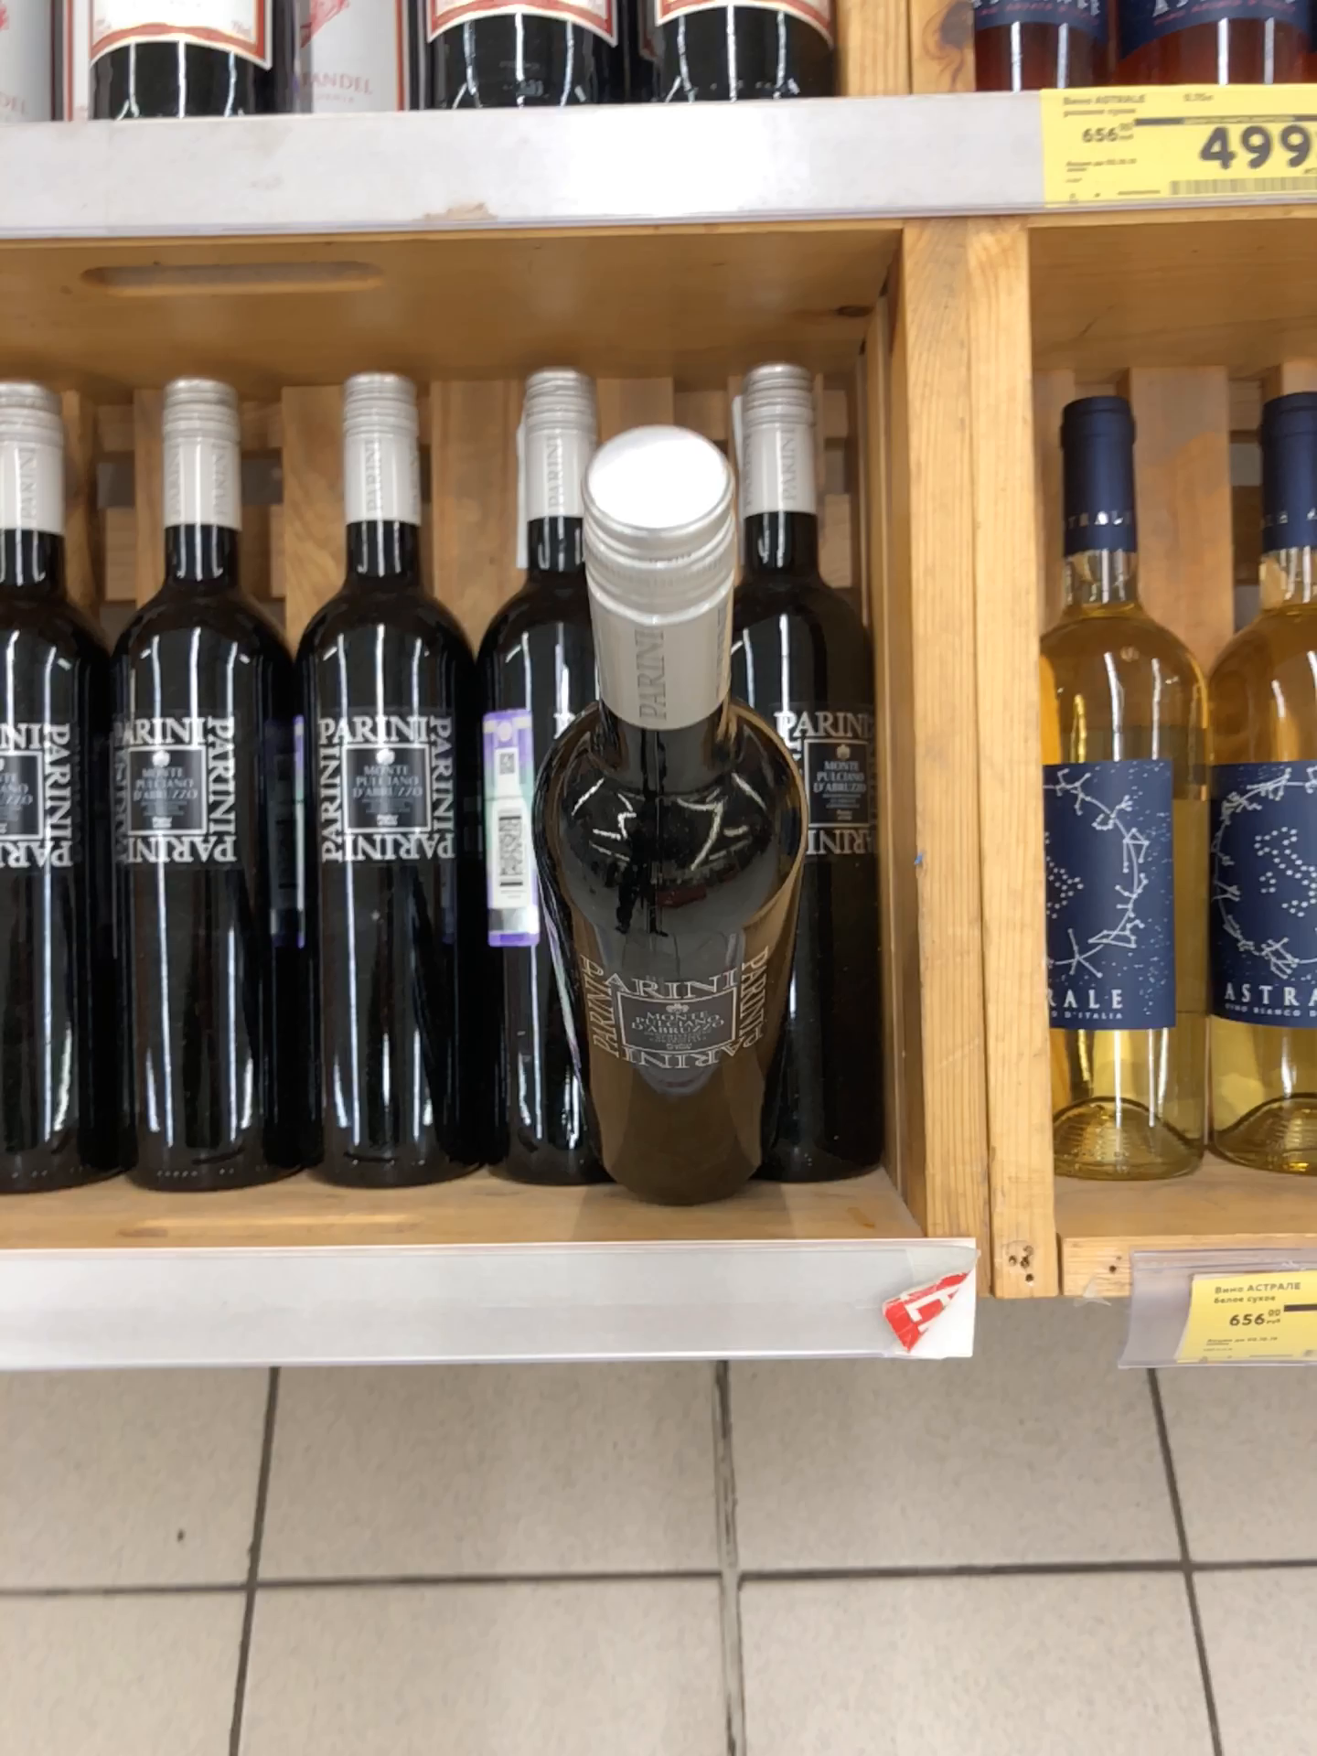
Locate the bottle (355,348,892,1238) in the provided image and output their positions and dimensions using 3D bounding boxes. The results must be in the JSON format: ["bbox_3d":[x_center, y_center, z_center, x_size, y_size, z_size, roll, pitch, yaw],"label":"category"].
[{"bbox_3d":[-0.002,0.005,0.393,0.090,0.279,0.080,7,57,5],"label":"bottle"}]
